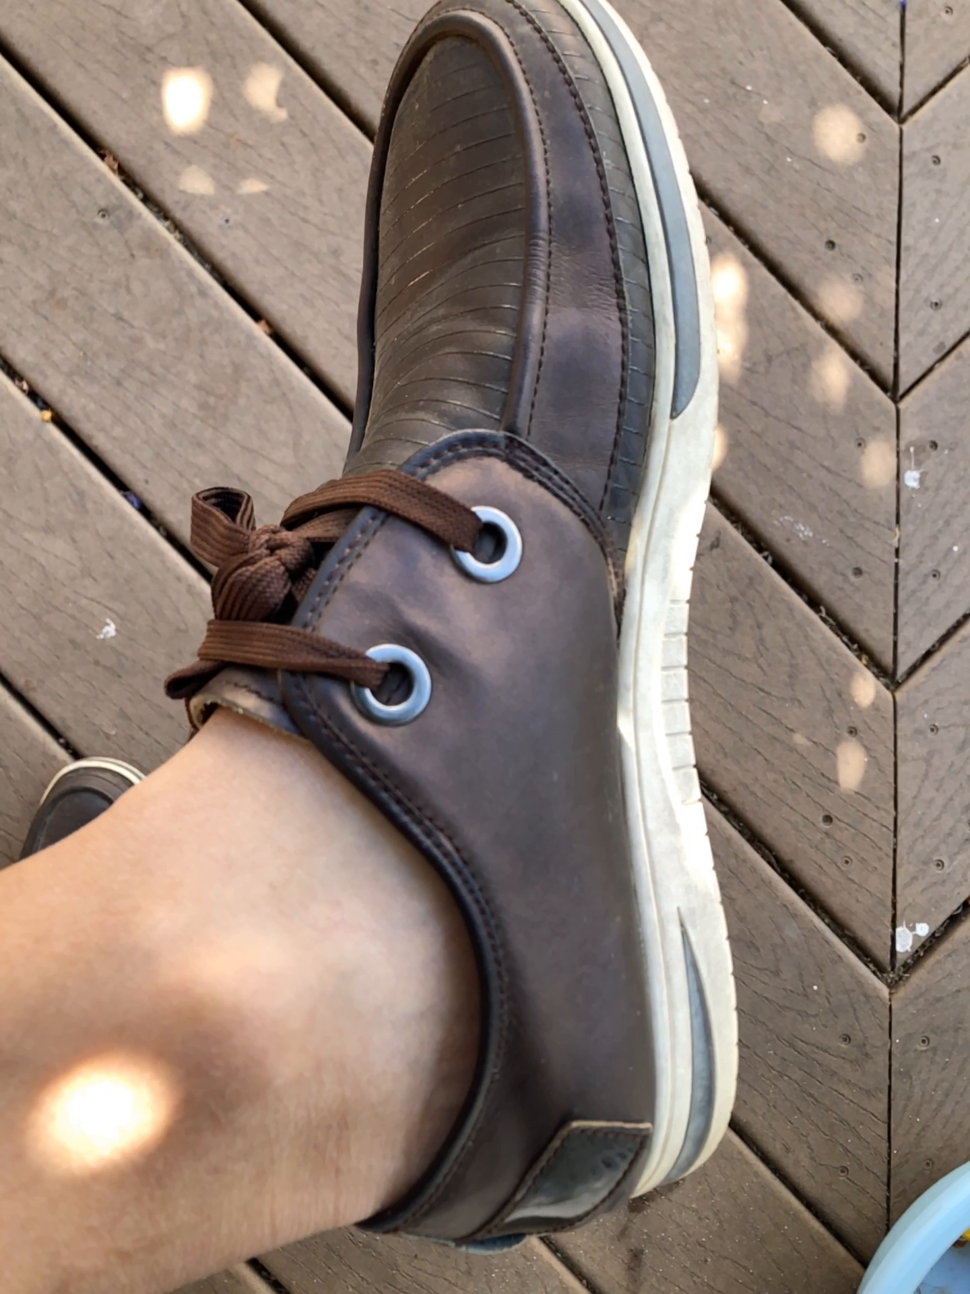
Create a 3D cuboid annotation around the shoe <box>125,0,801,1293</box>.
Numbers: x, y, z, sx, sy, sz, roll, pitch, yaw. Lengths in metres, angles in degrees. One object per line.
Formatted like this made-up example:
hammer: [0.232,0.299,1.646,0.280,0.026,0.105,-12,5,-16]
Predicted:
shoe: [-0.004,-0.015,0.236,0.102,0.097,0.274,3,88,-43]
